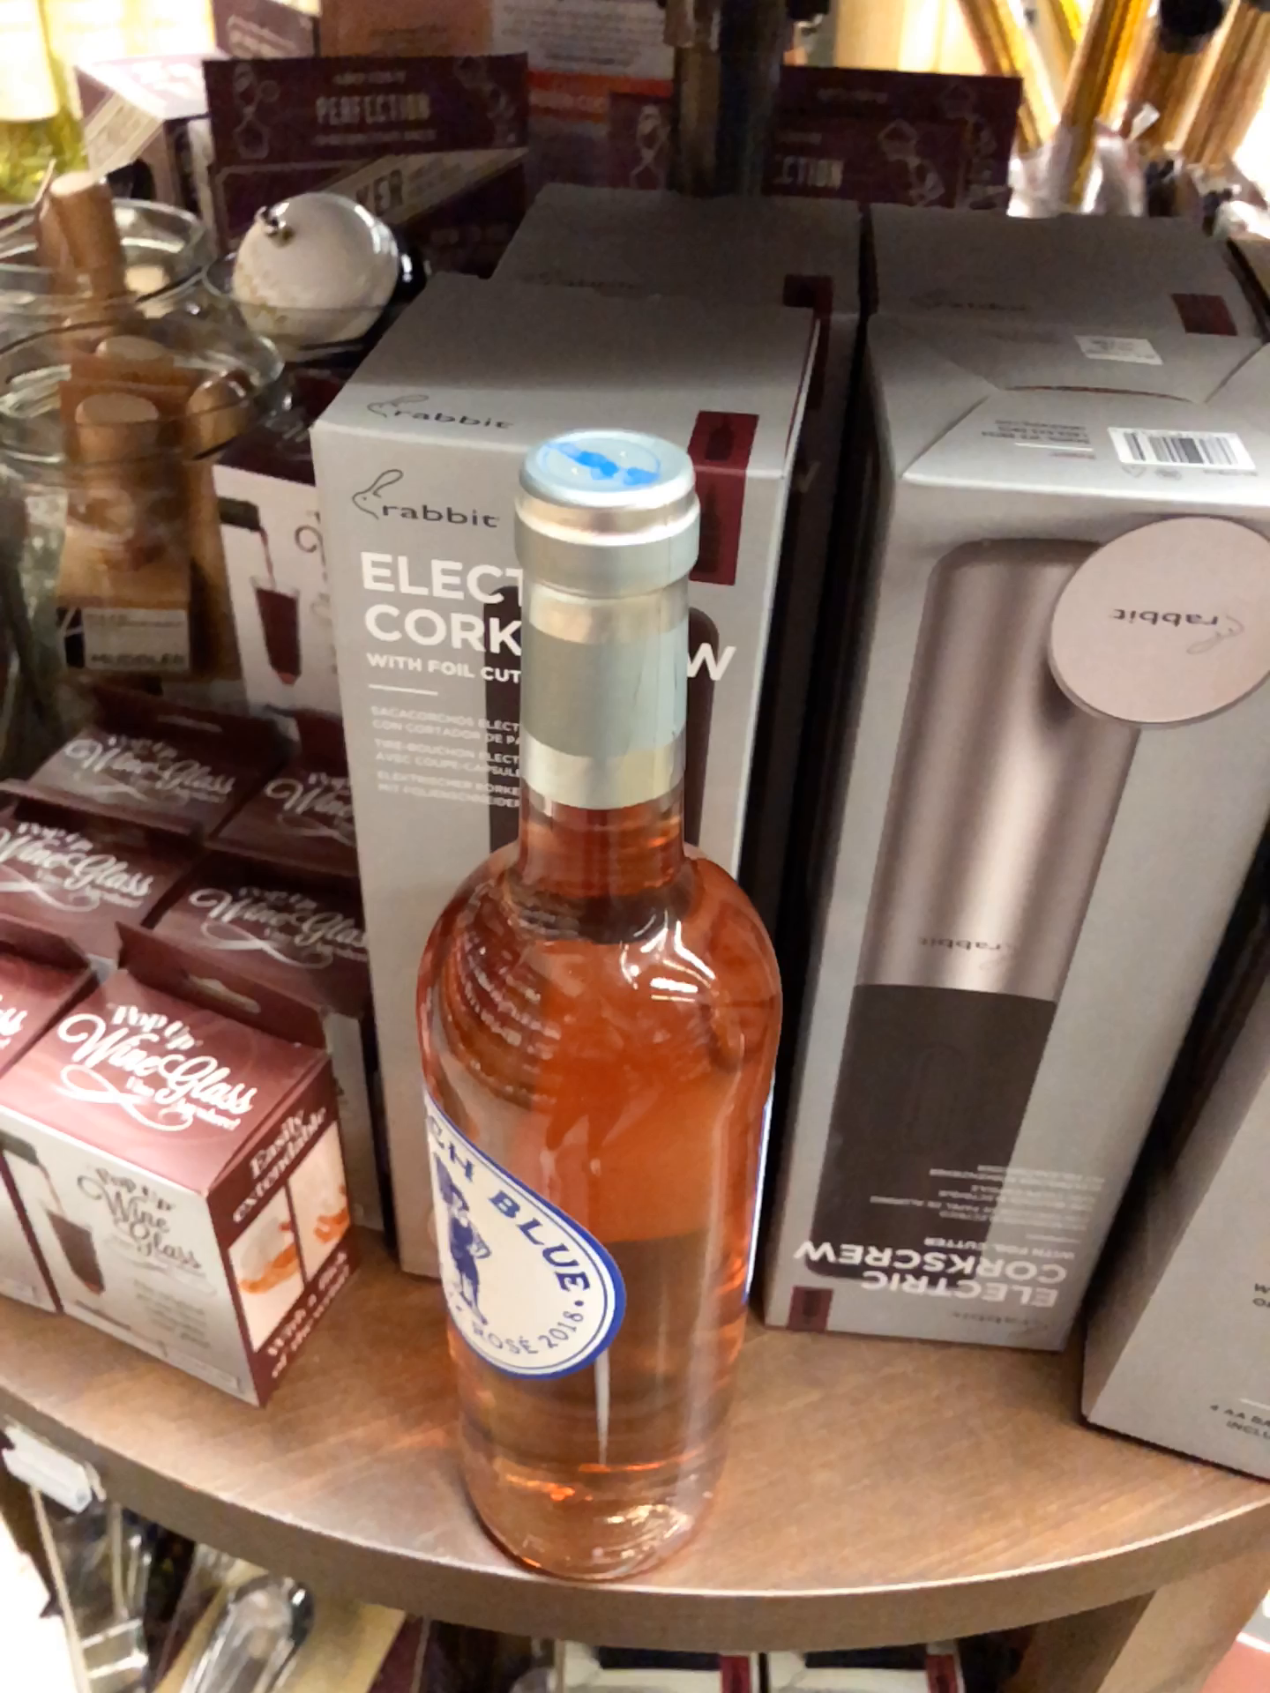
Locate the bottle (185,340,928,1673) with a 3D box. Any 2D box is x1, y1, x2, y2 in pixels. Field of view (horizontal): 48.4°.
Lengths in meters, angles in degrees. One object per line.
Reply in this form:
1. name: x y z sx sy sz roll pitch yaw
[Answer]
1. bottle: -0.013 0.056 0.302 0.078 0.289 0.080 0 39 0
